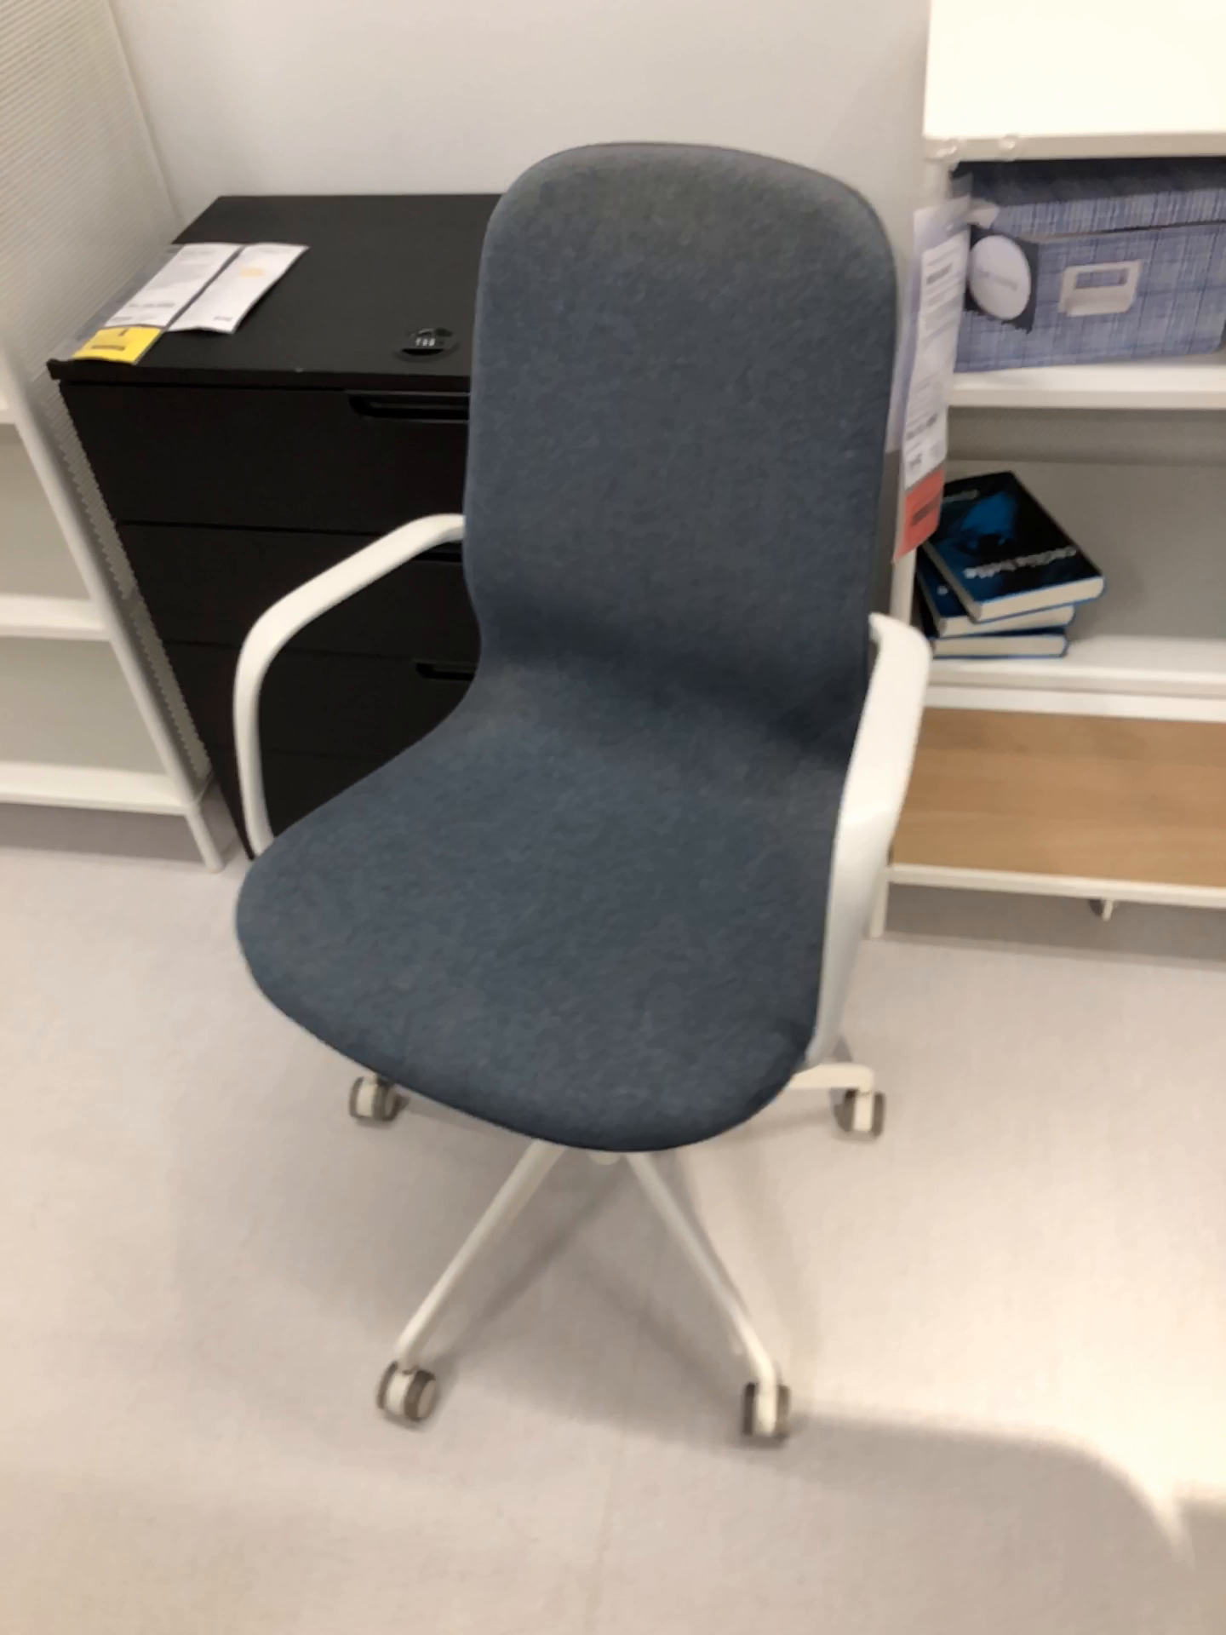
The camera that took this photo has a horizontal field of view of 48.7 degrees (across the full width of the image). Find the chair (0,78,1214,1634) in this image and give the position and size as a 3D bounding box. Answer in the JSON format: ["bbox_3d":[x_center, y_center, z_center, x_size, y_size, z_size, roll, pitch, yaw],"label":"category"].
[{"bbox_3d":[-0.067,0.046,1.185,0.702,0.994,0.702,26,53,29],"label":"chair"}]
